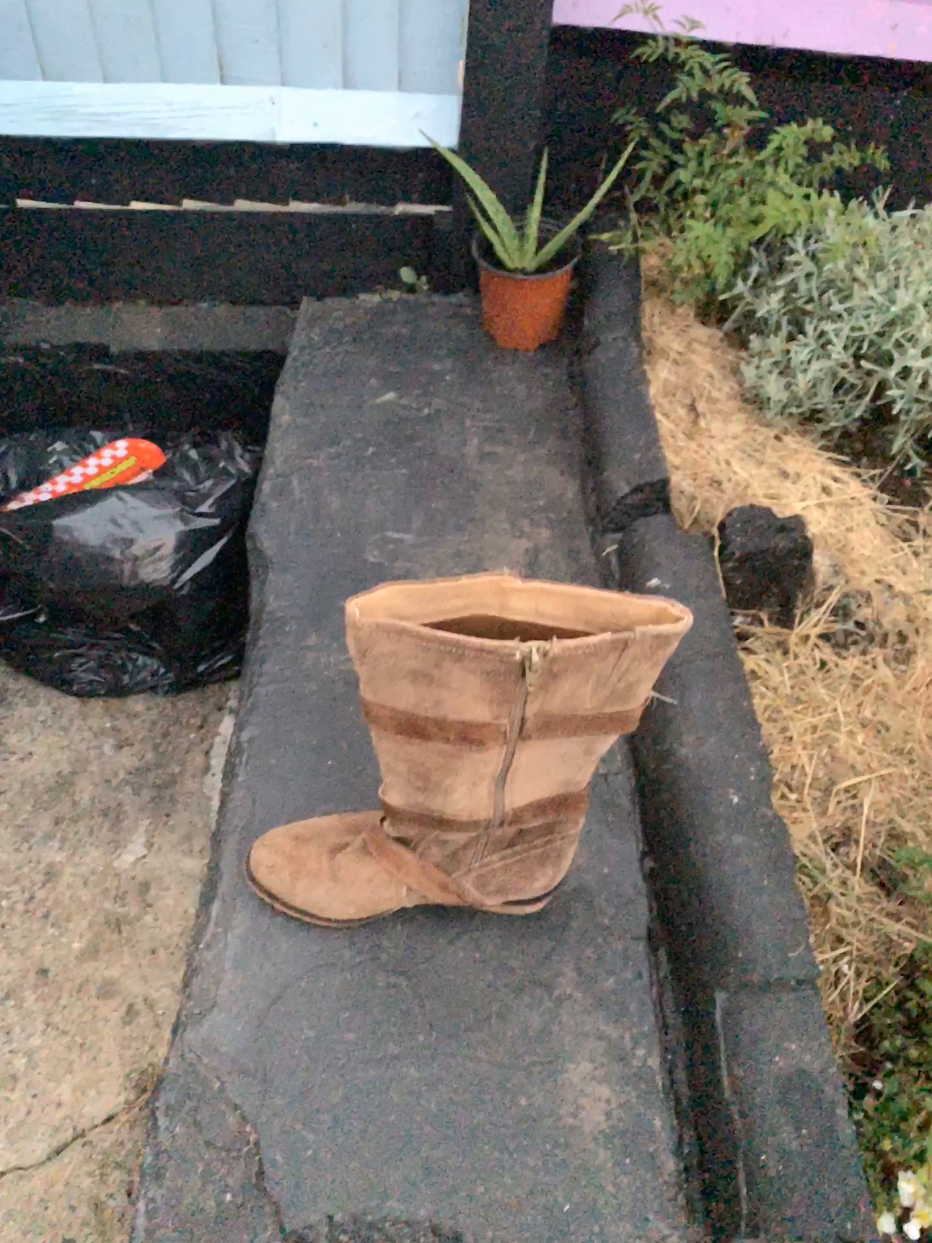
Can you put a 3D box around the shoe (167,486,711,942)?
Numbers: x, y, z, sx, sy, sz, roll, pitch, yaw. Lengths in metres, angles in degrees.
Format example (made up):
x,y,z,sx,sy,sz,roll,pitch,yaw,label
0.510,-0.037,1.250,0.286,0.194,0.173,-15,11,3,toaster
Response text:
x,y,z,sx,sy,sz,roll,pitch,yaw,label
-0.024,0.091,0.649,0.270,0.376,0.101,3,49,-3,shoe
